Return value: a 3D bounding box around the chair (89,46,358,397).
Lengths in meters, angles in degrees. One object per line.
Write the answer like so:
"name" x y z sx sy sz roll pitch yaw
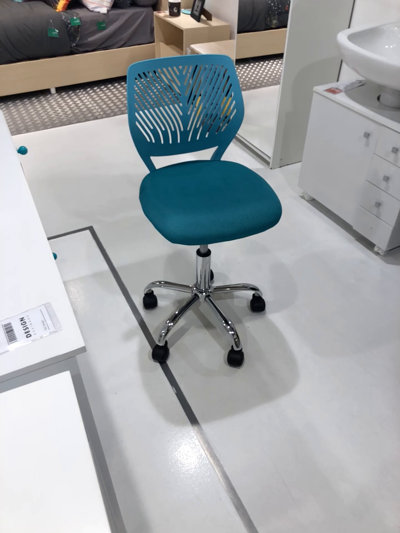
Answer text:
"chair" 0.017 -0.131 1.310 0.481 0.804 0.533 -13 42 -15
